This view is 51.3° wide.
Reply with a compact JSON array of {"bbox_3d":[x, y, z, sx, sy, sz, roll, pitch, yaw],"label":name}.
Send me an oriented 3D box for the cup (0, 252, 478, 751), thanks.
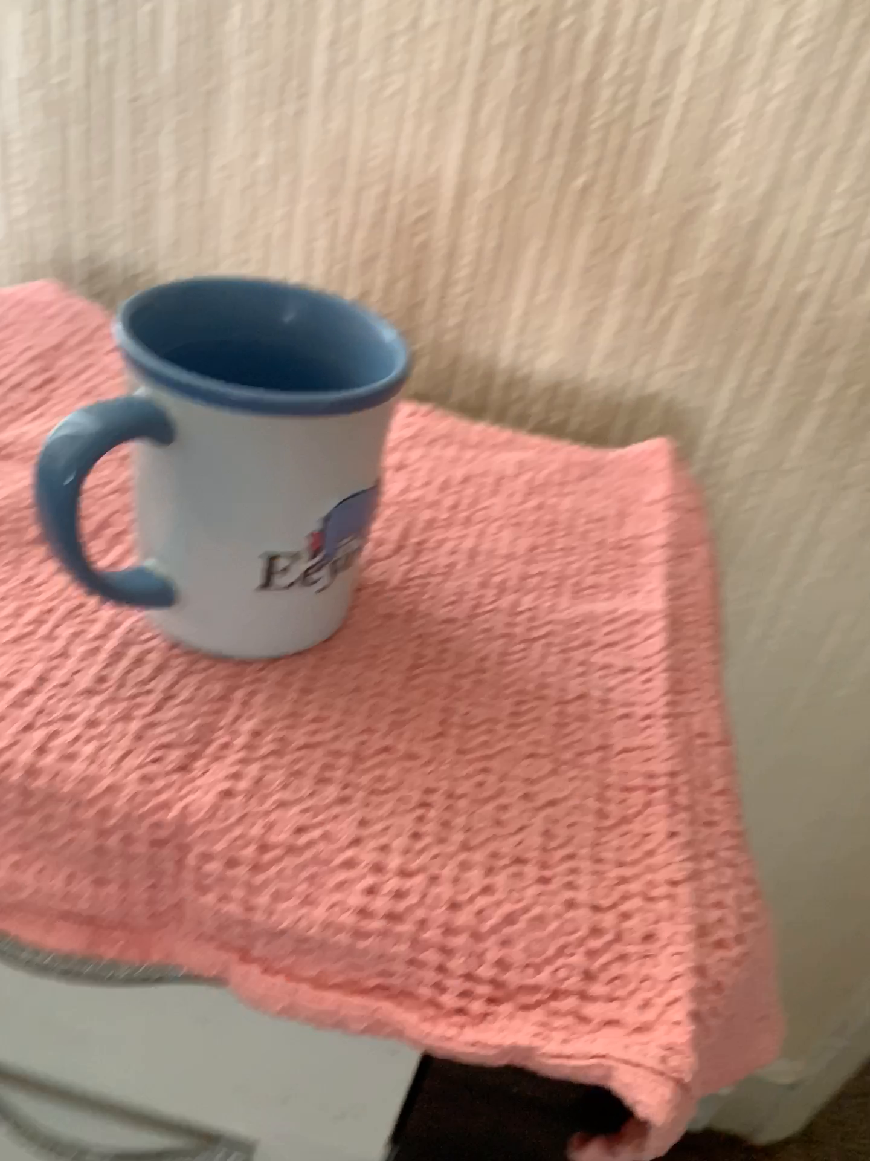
[{"bbox_3d":[-0.065,-0.033,0.287,0.090,0.099,0.111,33,39,25],"label":"cup"}]
